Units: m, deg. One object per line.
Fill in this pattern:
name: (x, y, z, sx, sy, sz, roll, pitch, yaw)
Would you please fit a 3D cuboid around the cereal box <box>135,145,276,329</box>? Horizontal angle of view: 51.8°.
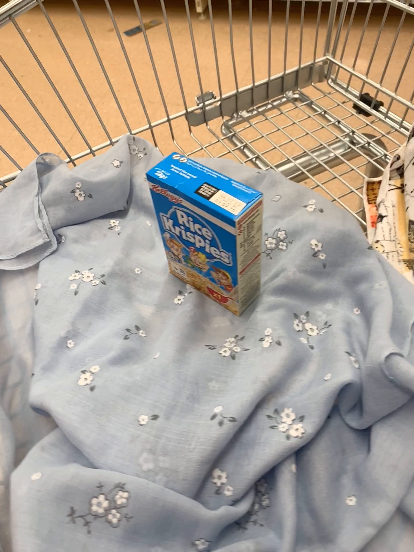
cereal box: (0.004, -0.028, 0.365, 0.100, 0.139, 0.040, 30, 63, 26)
